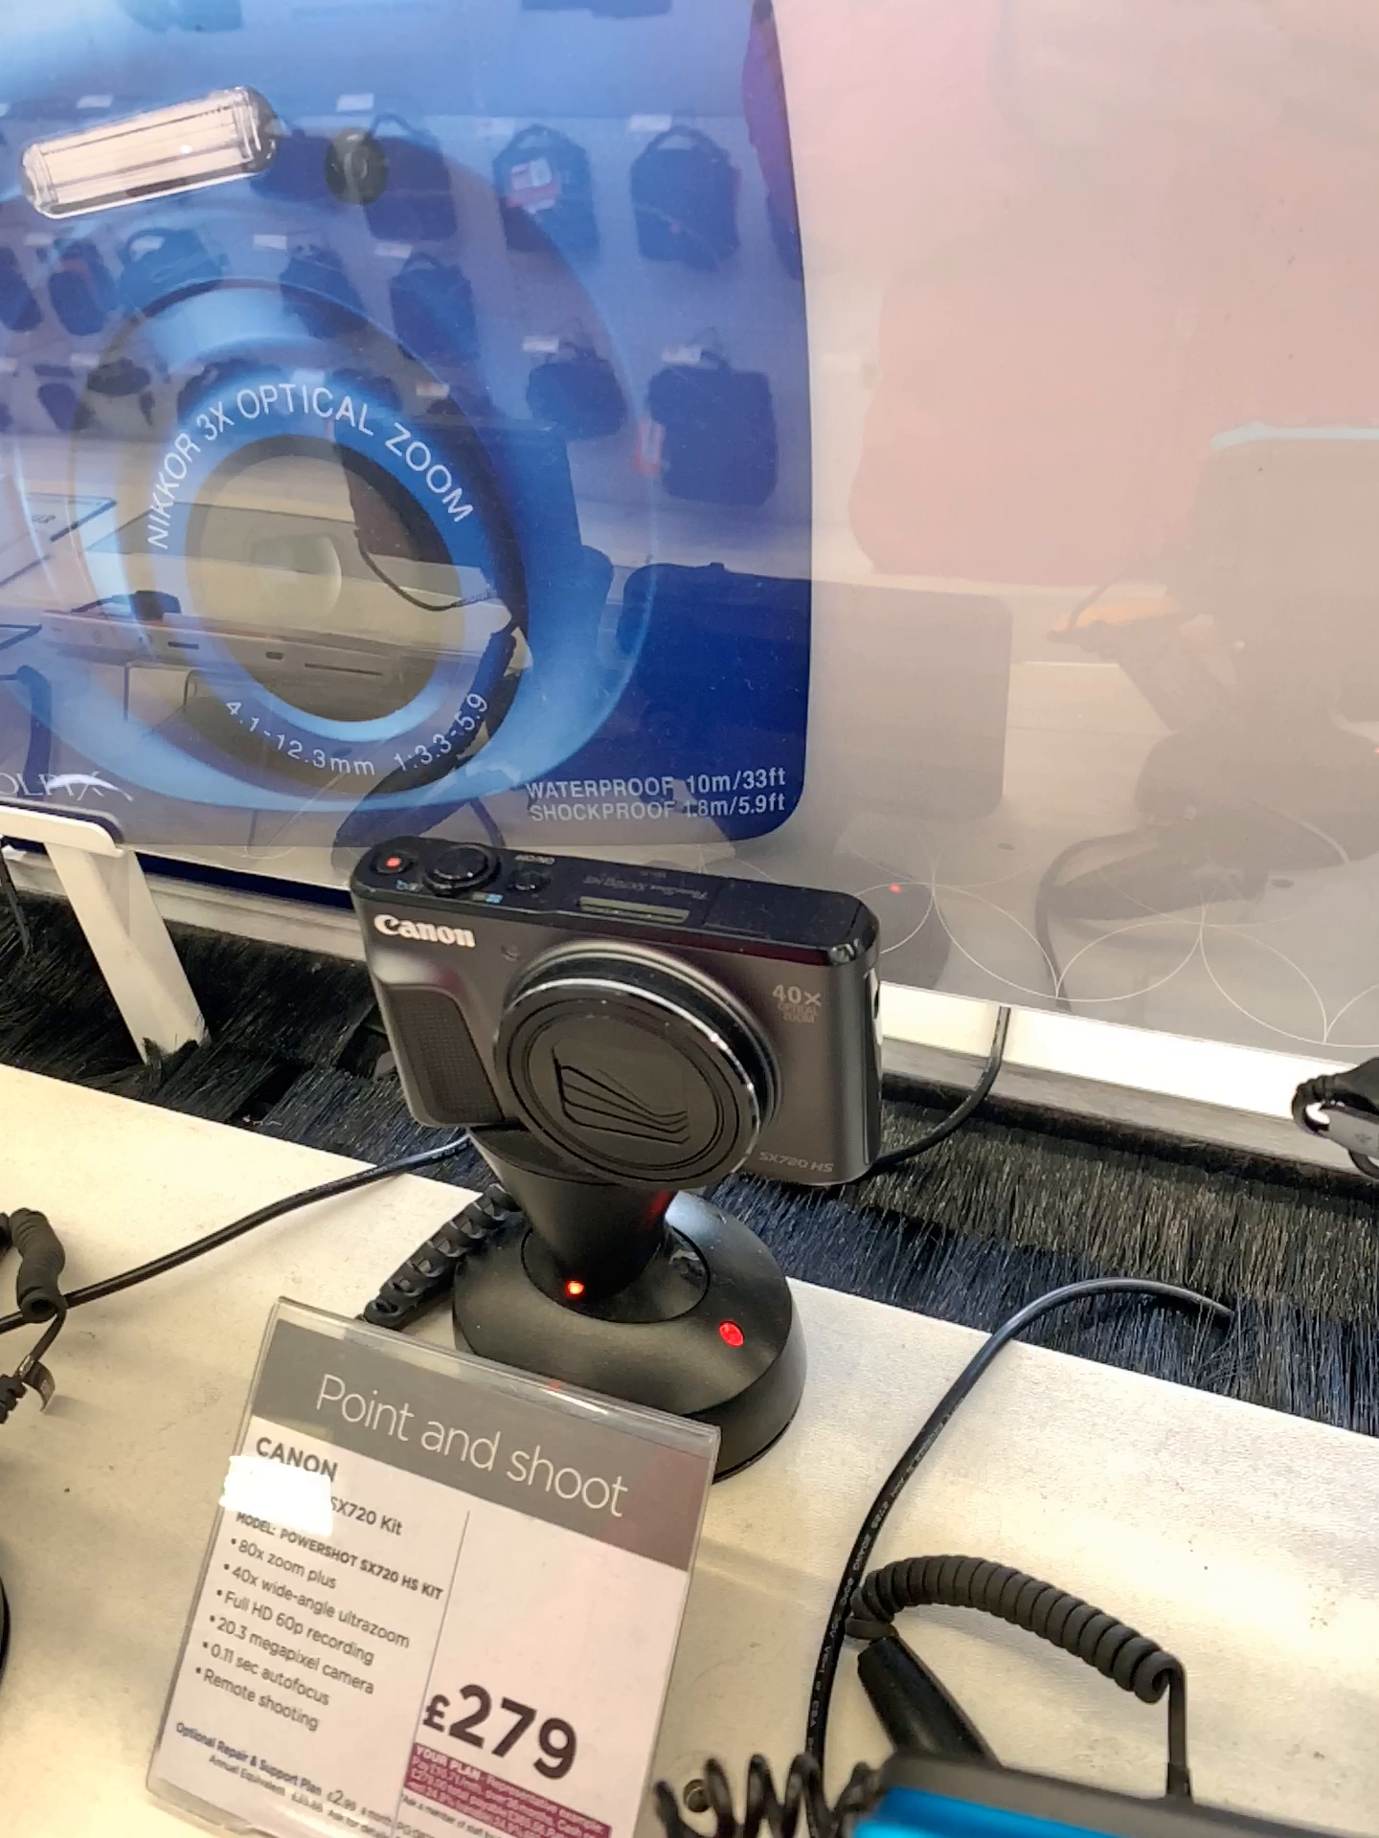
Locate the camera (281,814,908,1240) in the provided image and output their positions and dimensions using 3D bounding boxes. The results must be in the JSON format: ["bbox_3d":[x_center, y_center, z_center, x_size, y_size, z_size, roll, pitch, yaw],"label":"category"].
[{"bbox_3d":[-0.016,0.020,0.278,0.113,0.061,0.031,8,40,19],"label":"camera"}]
